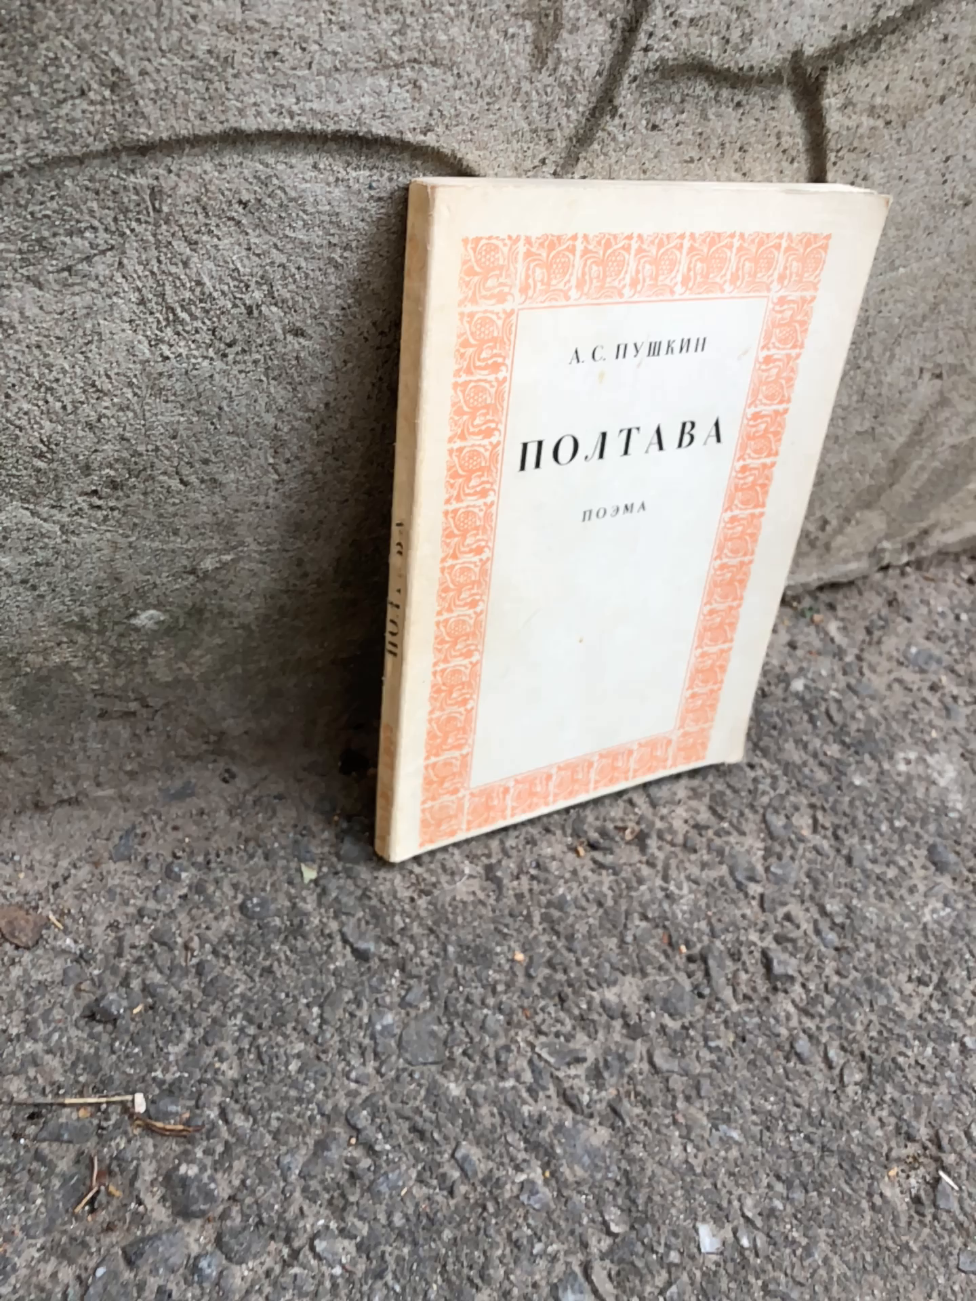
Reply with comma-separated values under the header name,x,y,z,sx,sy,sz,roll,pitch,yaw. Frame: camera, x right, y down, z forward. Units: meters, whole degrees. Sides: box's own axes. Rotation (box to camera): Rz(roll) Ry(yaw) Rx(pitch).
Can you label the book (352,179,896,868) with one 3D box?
name,x,y,z,sx,sy,sz,roll,pitch,yaw
book,0.035,-0.034,0.333,0.150,0.199,0.020,-11,35,-27
